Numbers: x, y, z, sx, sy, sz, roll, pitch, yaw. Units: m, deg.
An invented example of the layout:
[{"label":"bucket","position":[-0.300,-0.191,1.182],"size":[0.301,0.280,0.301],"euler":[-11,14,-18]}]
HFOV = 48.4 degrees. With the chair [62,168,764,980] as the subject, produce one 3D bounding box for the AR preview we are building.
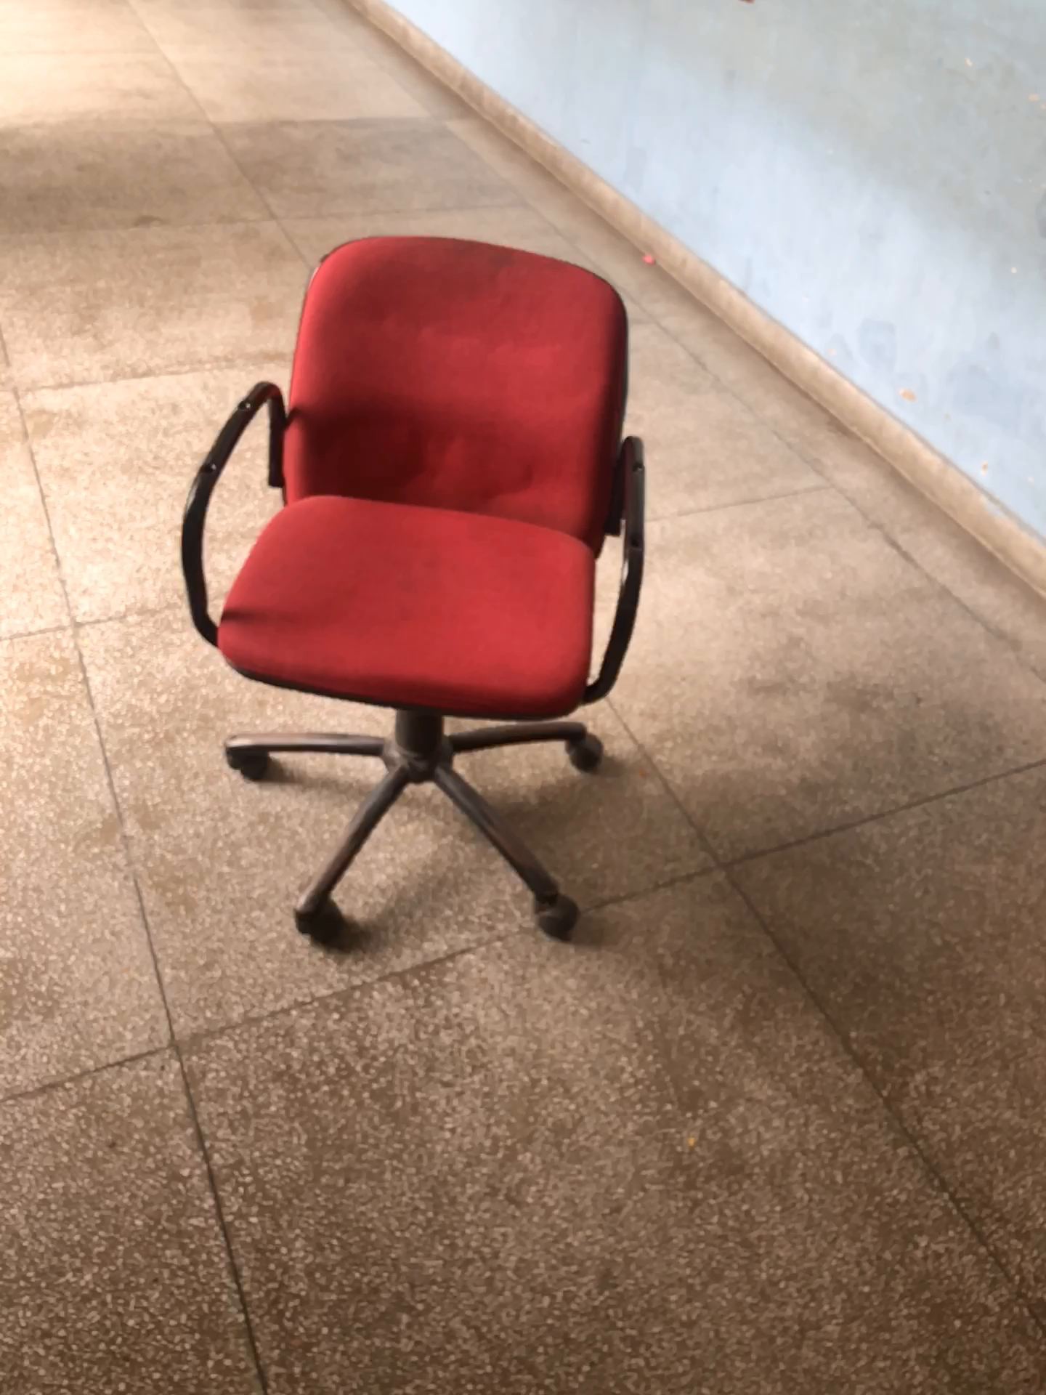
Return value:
[{"label":"chair","position":[-0.119,-0.156,1.577],"size":[0.650,0.797,0.643],"euler":[7,42,-1]}]
